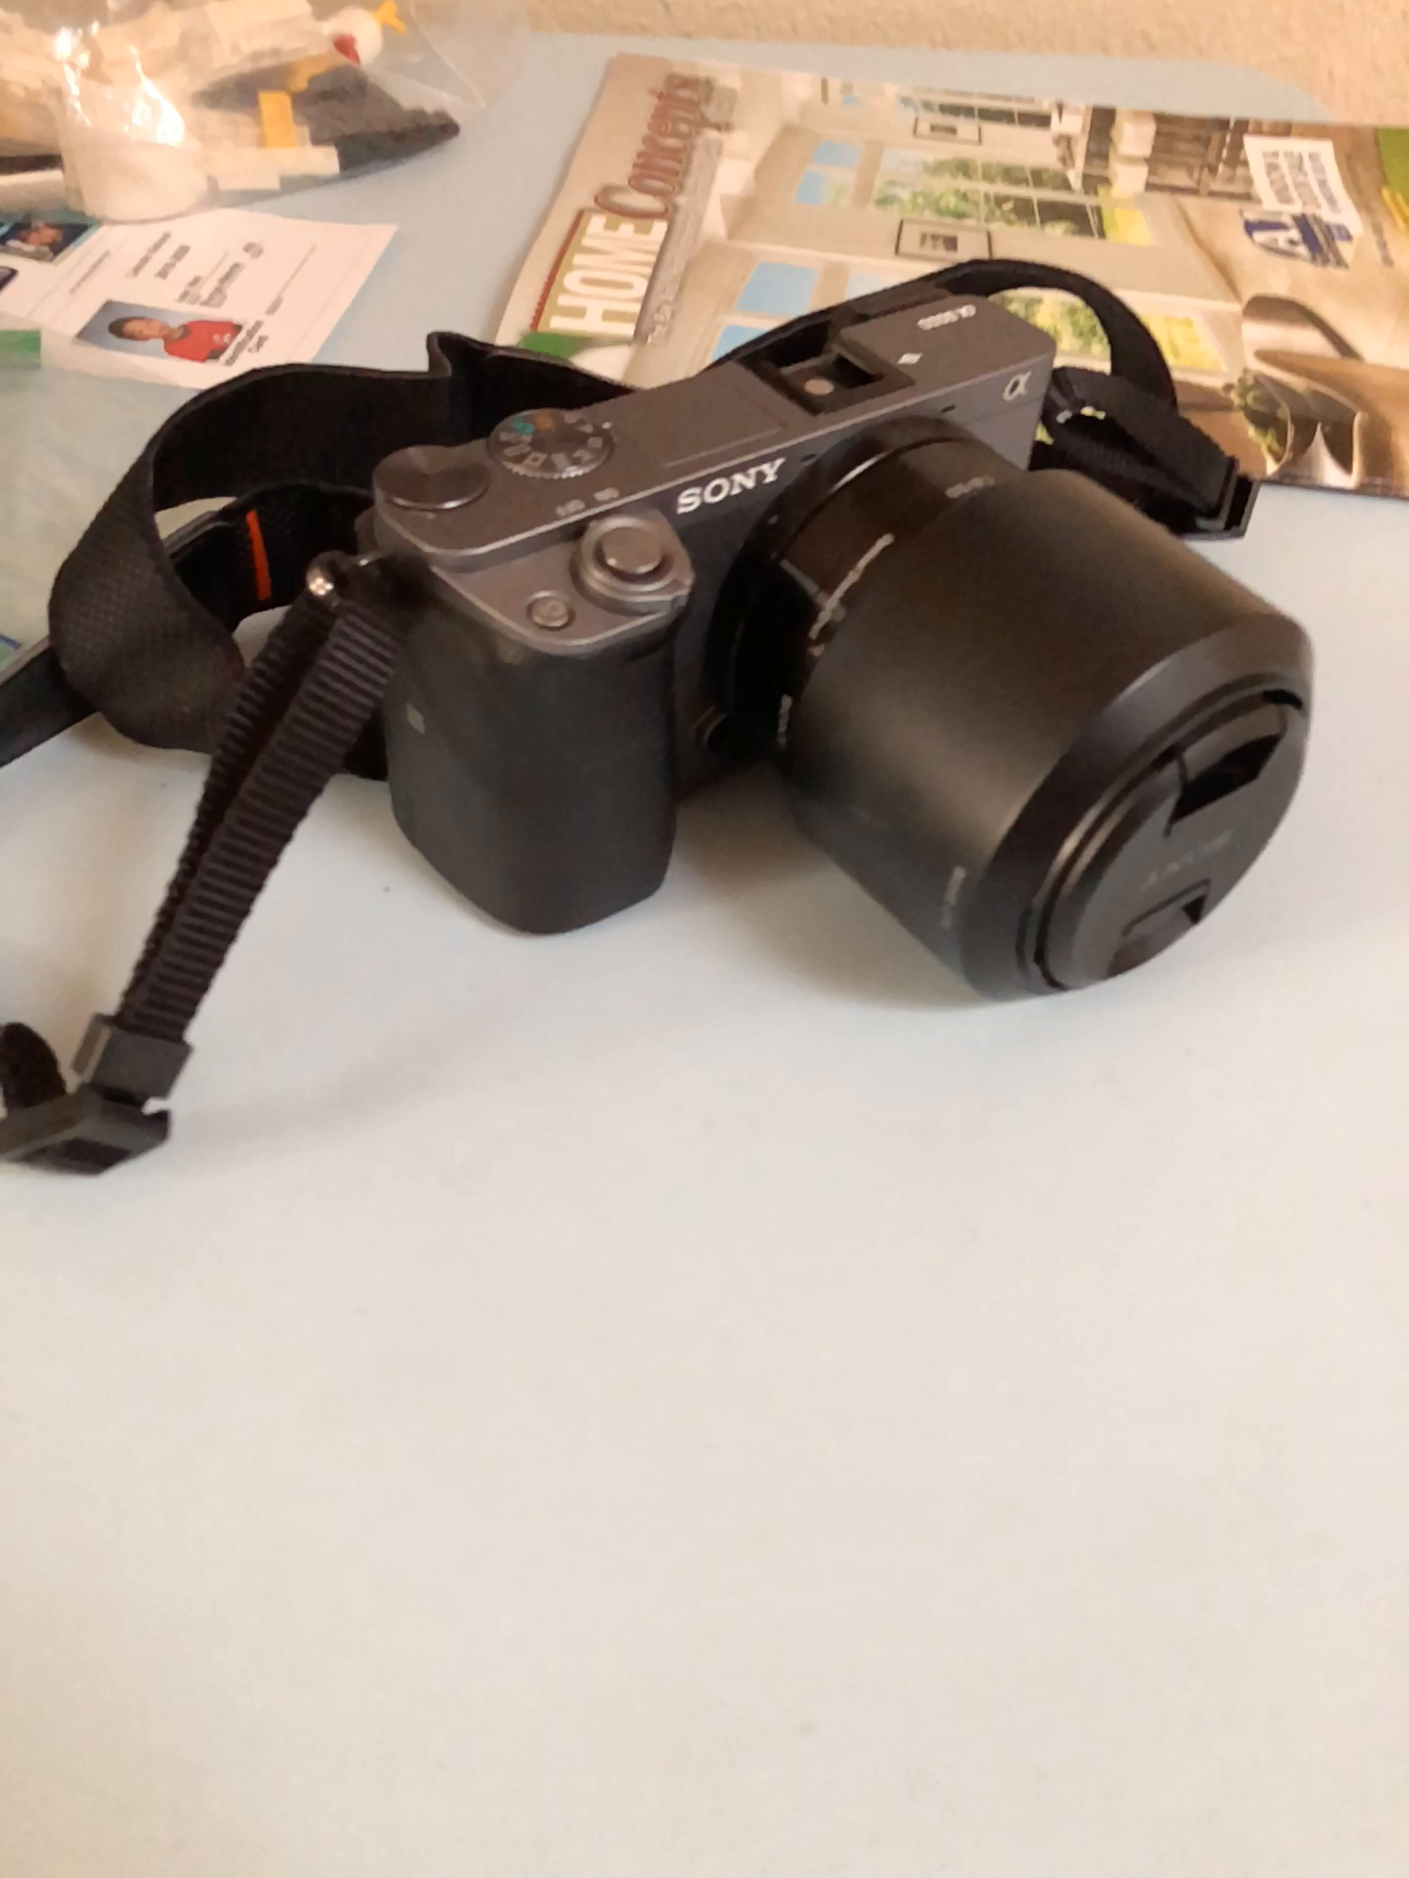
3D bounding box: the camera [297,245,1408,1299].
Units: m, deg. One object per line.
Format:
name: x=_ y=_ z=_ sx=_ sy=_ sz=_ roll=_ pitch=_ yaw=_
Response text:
camera: x=0.026 y=-0.036 z=0.237 sx=0.130 sy=0.070 sz=0.110 roll=-25 pitch=55 yaw=-25
